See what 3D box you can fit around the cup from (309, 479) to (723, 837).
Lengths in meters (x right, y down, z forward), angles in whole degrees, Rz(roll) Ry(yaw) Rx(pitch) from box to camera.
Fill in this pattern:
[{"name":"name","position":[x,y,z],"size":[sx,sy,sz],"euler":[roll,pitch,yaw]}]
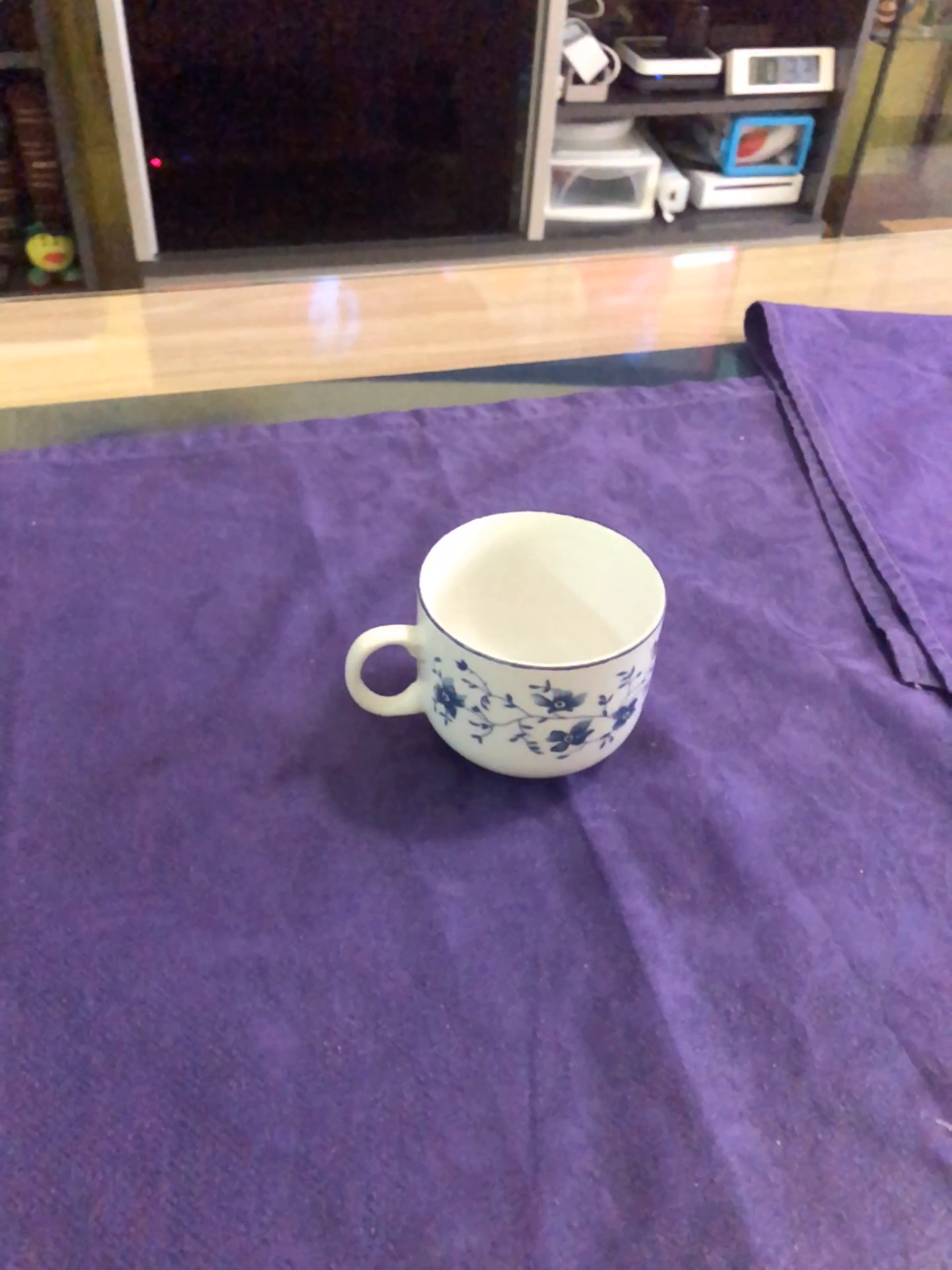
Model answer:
[{"name":"cup","position":[0.008,0.004,0.321],"size":[0.100,0.060,0.070],"euler":[-11,44,-15]}]
